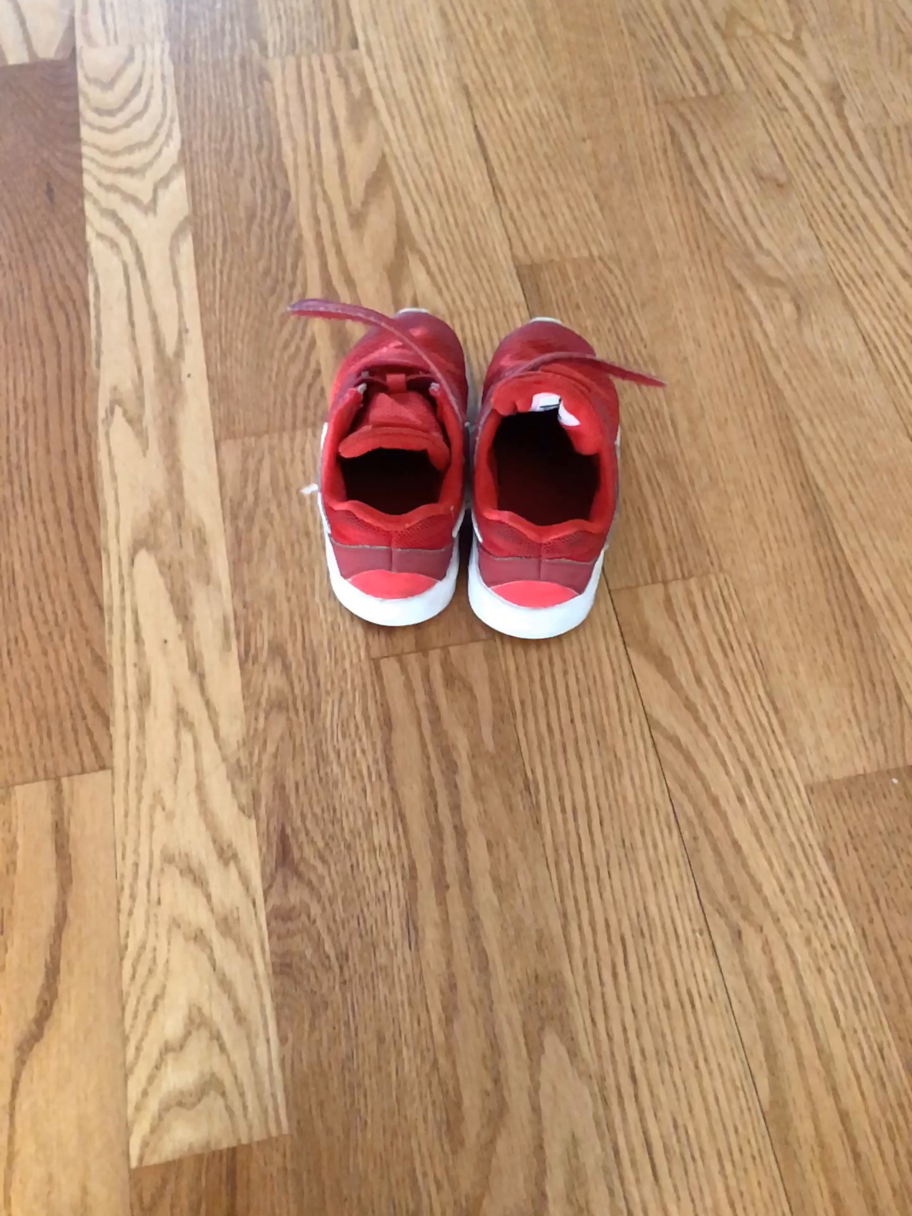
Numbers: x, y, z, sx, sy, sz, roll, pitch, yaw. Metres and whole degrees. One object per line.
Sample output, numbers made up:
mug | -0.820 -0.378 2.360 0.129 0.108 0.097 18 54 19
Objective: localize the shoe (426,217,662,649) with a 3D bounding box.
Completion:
shoe | 0.040 -0.081 0.452 0.088 0.069 0.178 6 64 1

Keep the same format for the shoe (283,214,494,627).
shoe | -0.026 -0.086 0.454 0.080 0.069 0.176 1 64 -1
